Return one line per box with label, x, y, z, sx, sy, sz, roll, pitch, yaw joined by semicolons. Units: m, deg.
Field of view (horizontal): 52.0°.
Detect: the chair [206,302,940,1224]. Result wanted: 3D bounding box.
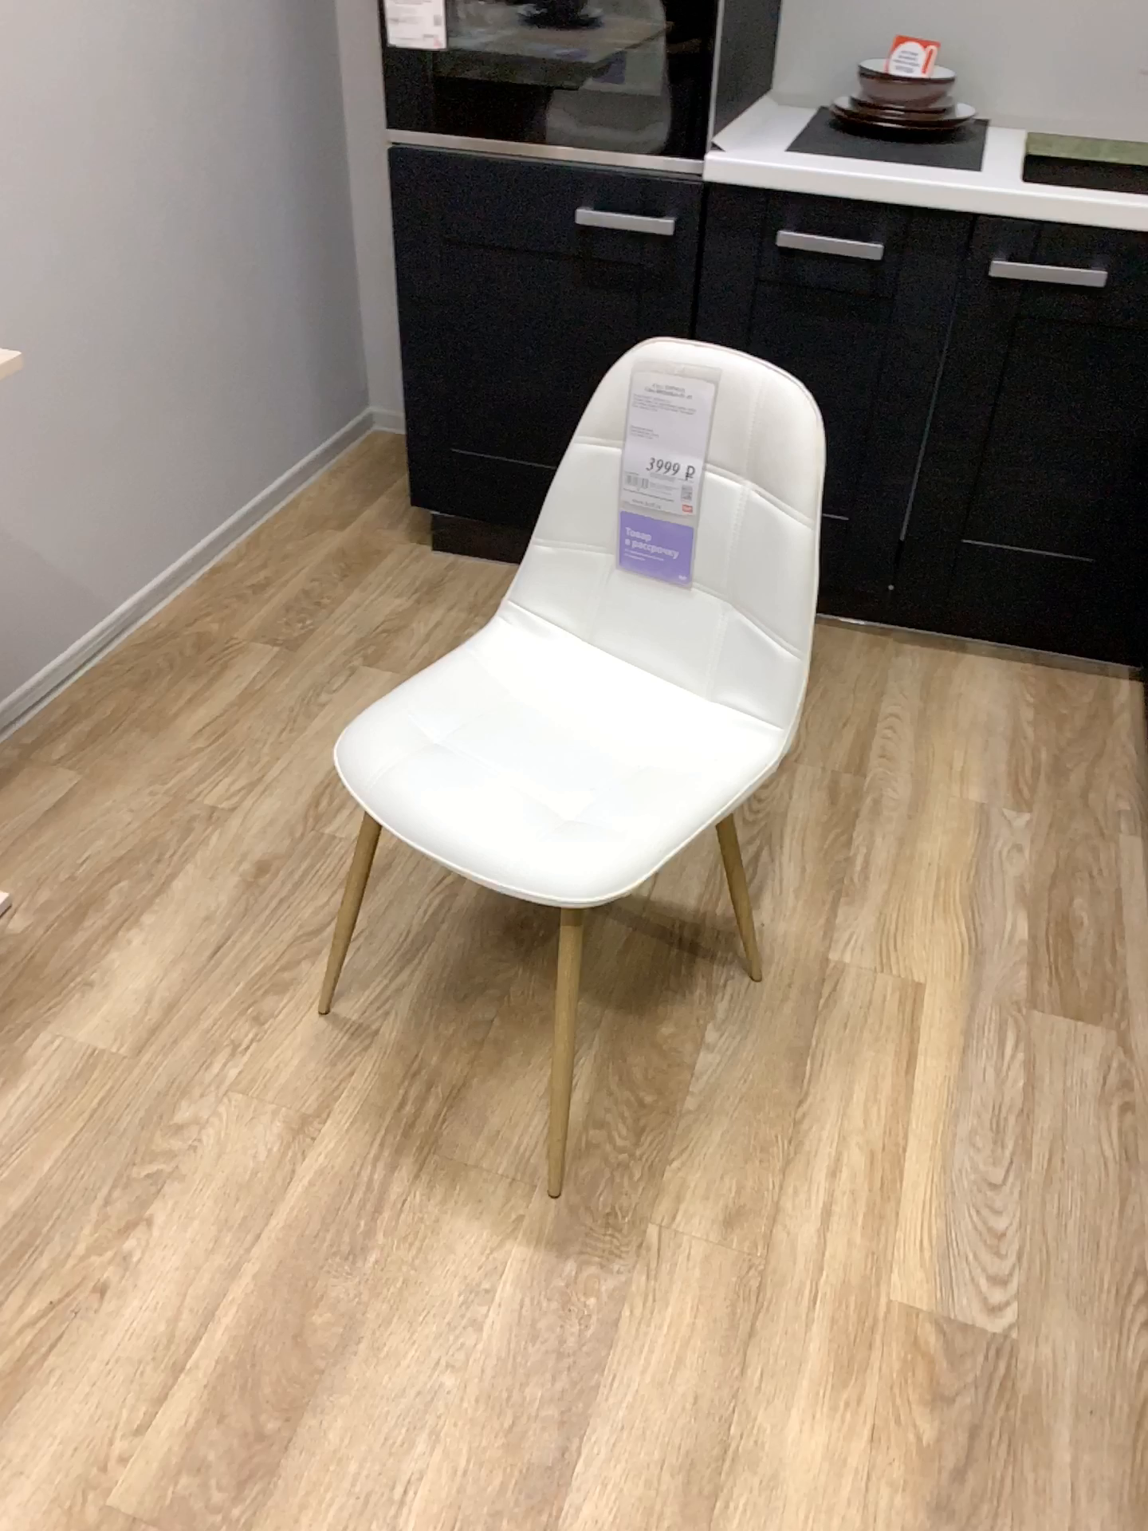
chair;0.005;-0.017;1.416;0.471;0.825;0.572;28;45;29
